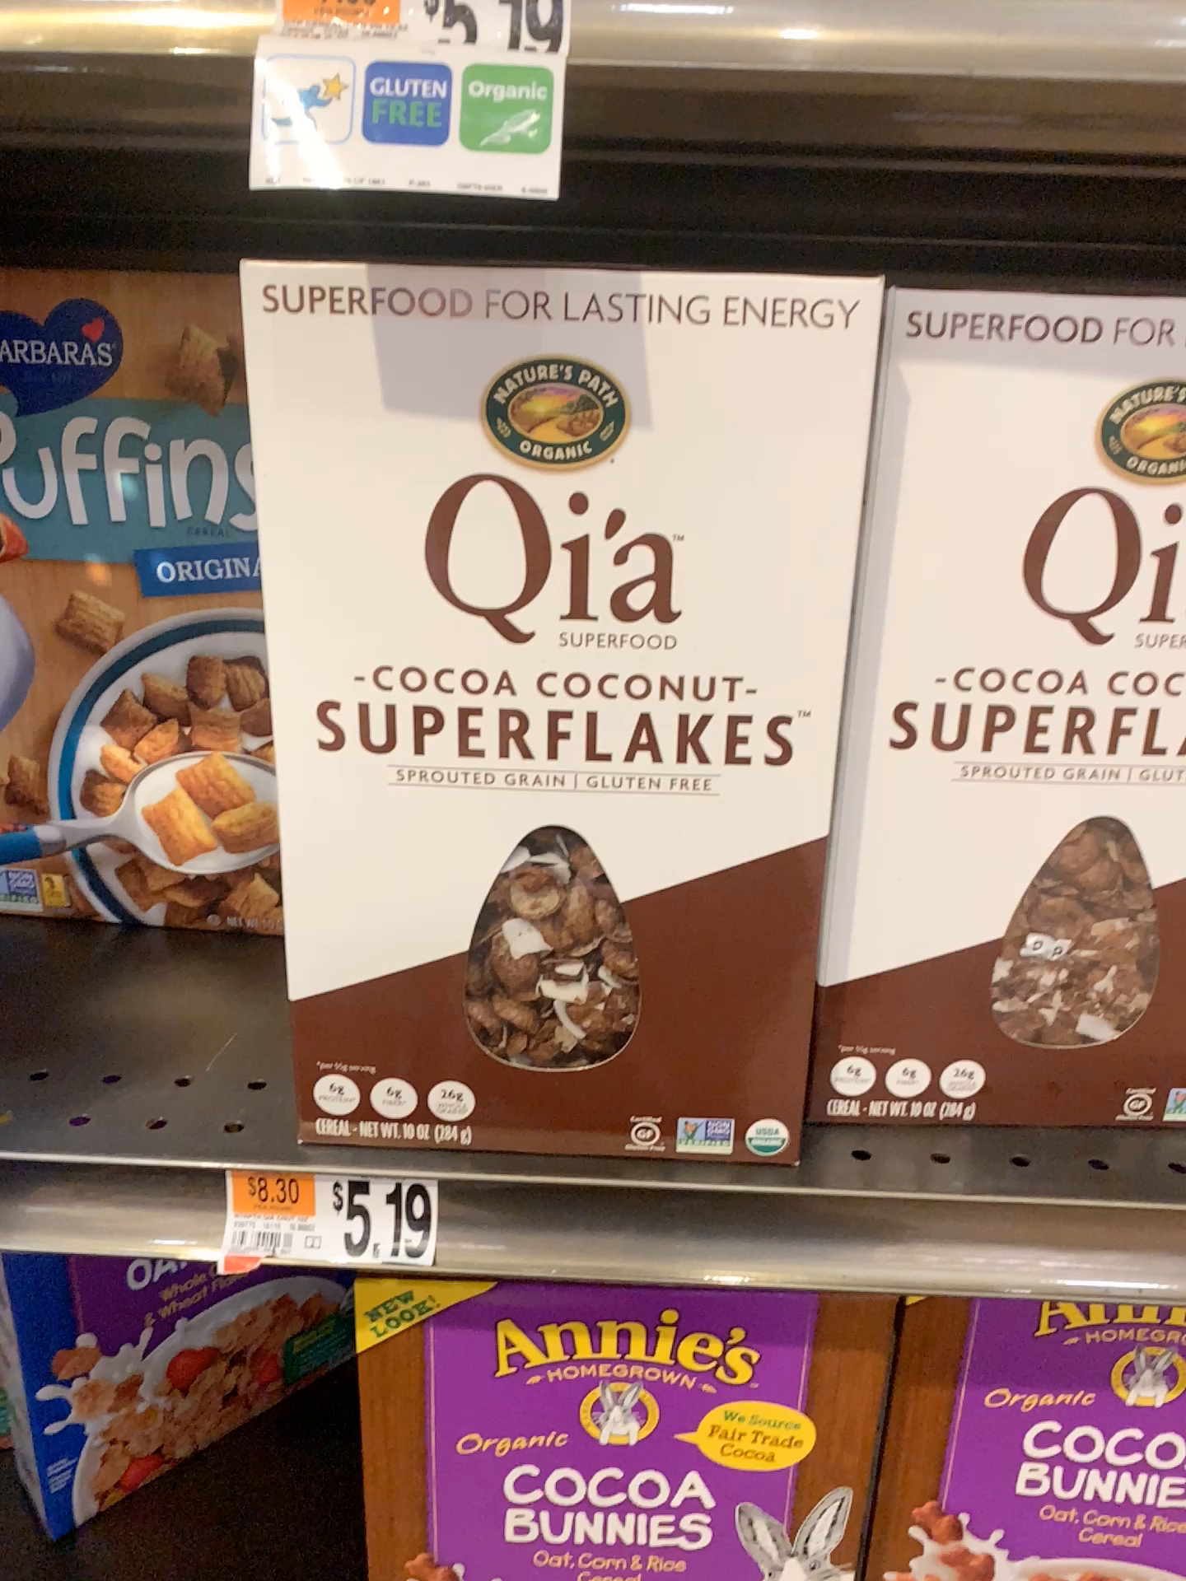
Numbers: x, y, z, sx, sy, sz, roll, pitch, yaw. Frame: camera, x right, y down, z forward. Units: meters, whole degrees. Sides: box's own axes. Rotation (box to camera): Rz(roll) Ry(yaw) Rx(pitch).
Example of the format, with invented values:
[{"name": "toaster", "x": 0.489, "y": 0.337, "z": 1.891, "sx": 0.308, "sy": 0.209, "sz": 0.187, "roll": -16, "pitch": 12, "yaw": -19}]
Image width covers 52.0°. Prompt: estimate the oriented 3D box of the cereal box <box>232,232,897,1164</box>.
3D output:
[{"name": "cereal box", "x": -0.010, "y": -0.020, "z": 0.363, "sx": 0.160, "sy": 0.259, "sz": 0.060, "roll": 2, "pitch": 19, "yaw": 1}]
